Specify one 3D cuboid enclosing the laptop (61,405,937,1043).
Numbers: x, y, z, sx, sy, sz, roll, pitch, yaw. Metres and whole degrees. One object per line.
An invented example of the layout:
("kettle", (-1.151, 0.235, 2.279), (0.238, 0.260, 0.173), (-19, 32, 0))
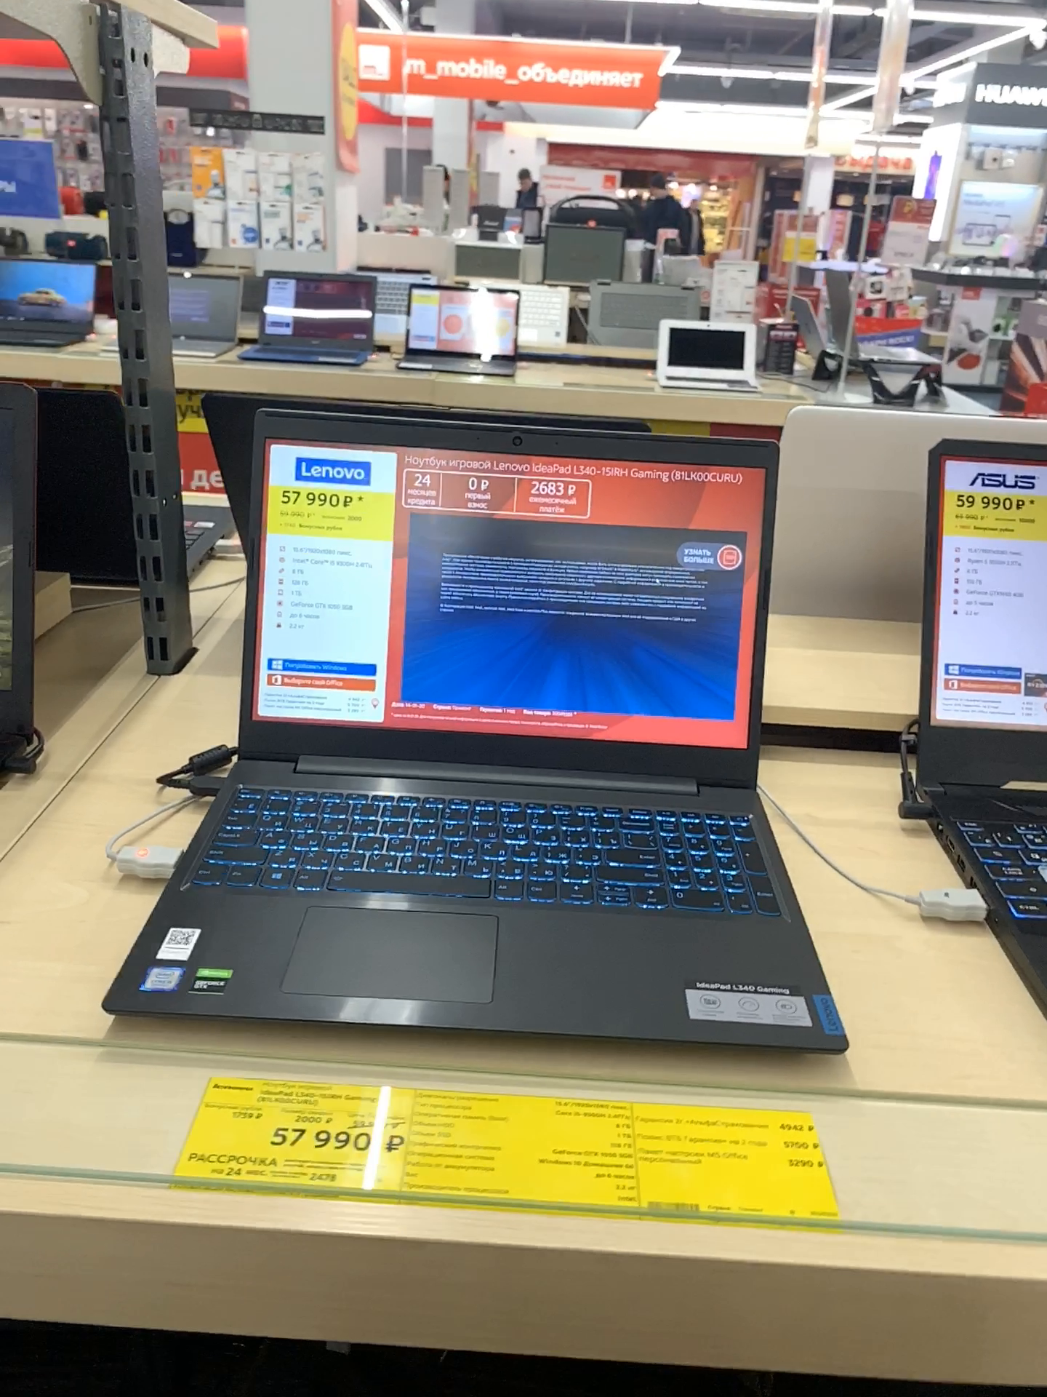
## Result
("laptop", (-0.013, -0.018, 0.639), (0.357, 0.223, 0.349), (3, 25, -1))
